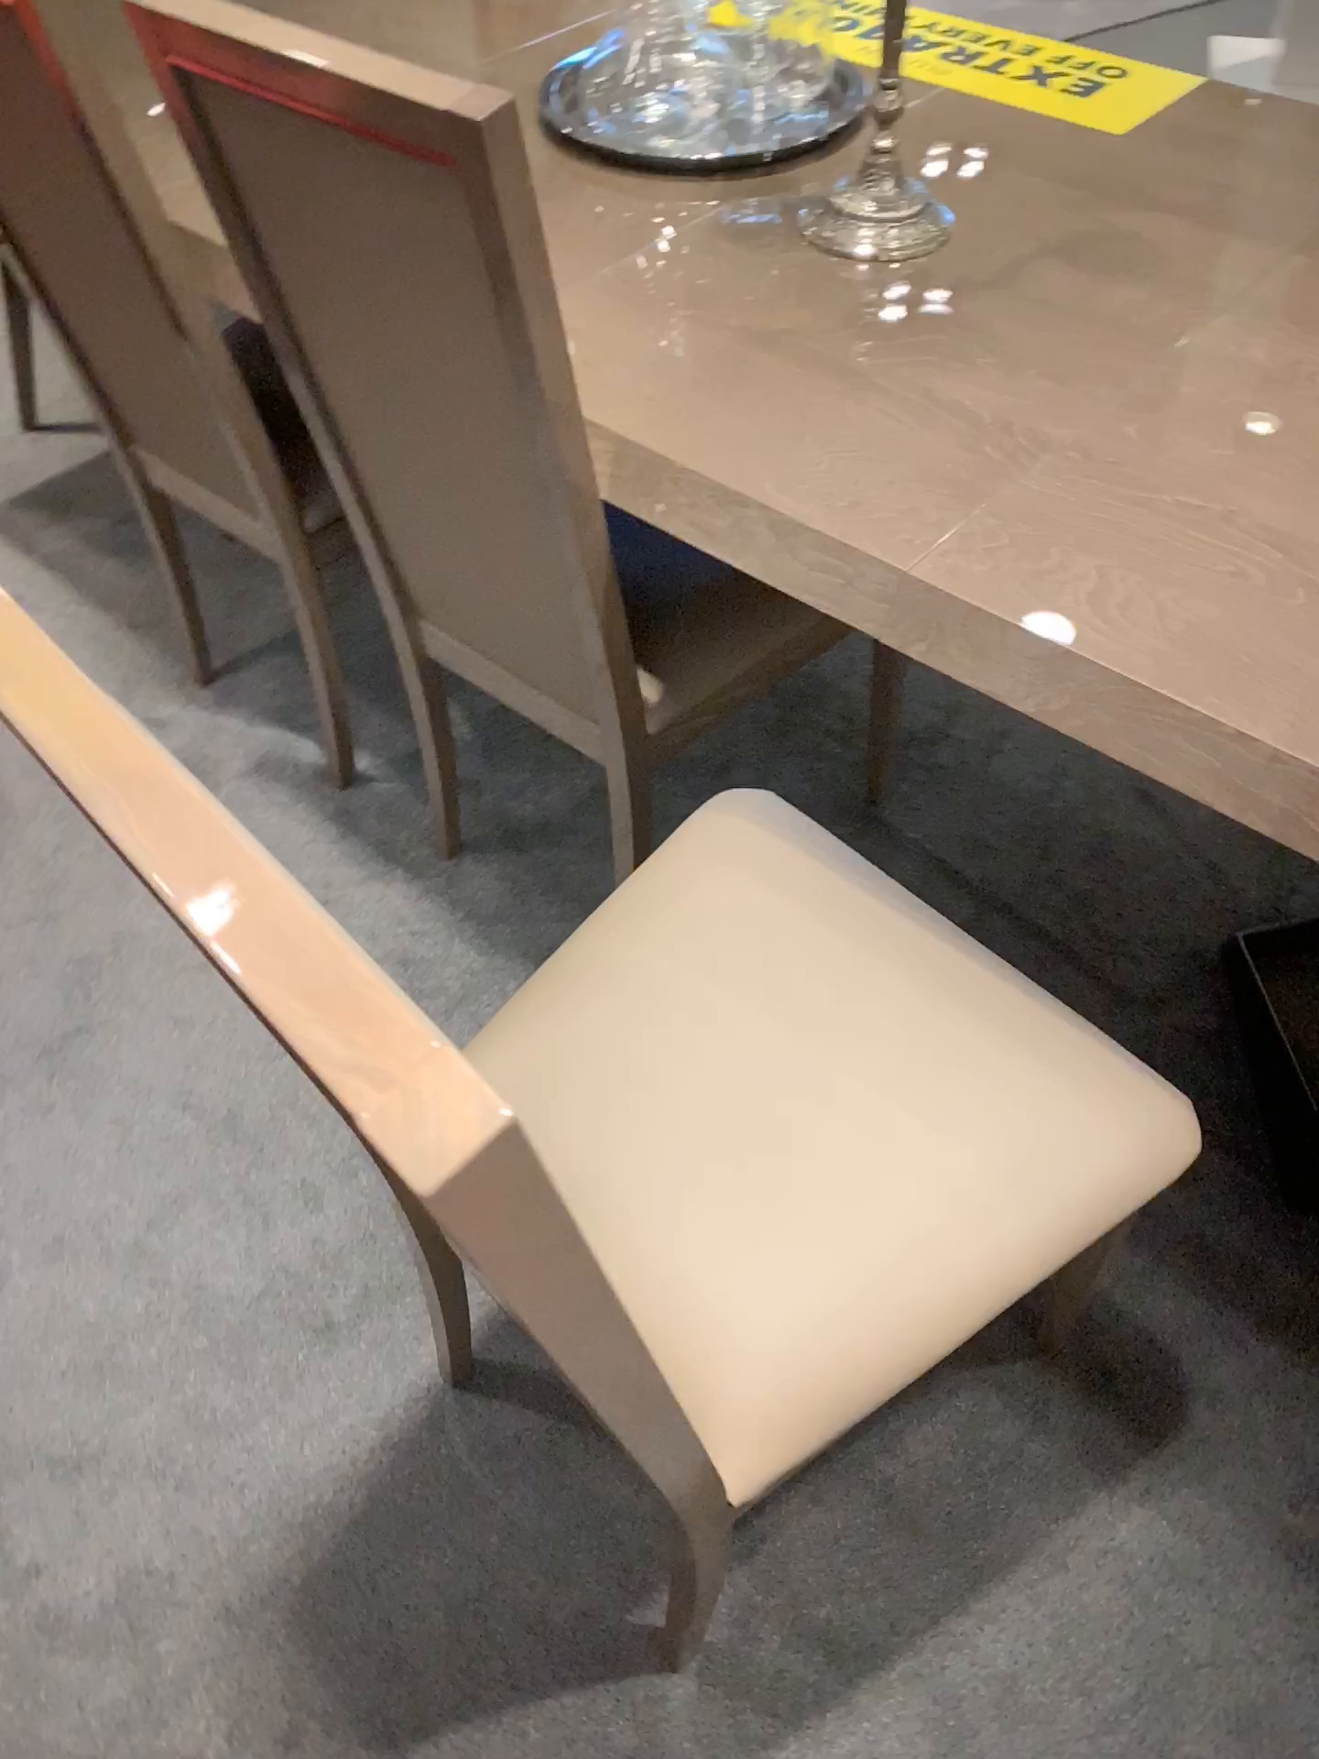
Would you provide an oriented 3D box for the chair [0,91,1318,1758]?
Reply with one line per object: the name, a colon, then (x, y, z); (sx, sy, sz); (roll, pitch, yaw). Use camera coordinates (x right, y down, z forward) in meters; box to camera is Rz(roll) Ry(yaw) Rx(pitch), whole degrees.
chair: (0.034, 0.132, 0.906); (0.541, 0.947, 0.588); (36, 59, 29)
